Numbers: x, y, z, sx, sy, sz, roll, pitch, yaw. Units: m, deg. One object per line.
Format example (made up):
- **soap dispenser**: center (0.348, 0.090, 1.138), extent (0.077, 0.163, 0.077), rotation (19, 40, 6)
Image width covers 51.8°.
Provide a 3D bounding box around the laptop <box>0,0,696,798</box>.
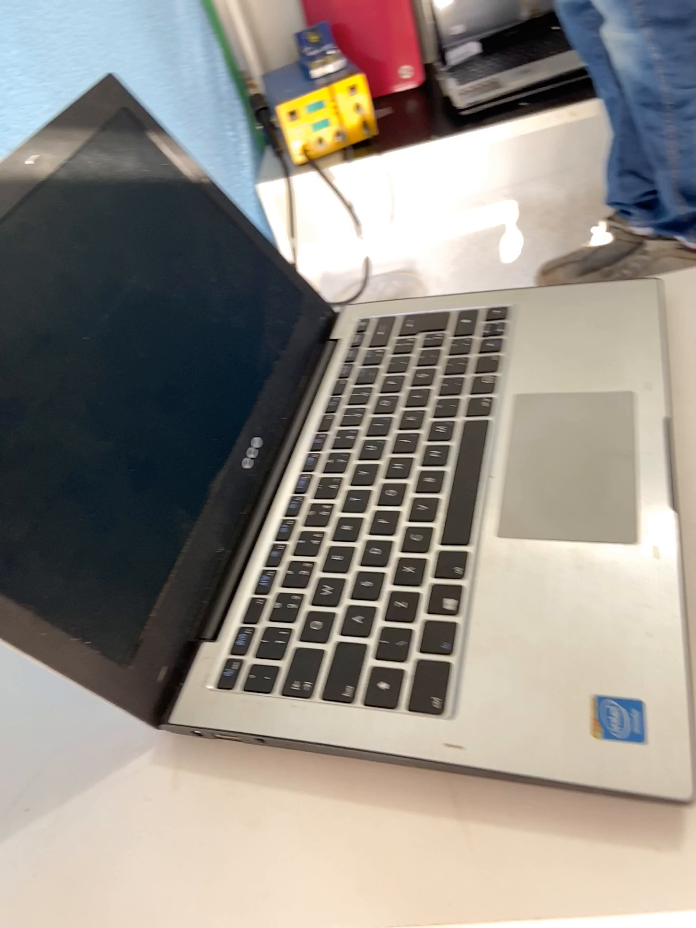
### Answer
- **laptop**: center (-0.013, -0.060, 0.339), extent (0.303, 0.181, 0.314), rotation (-1, 45, 21)
